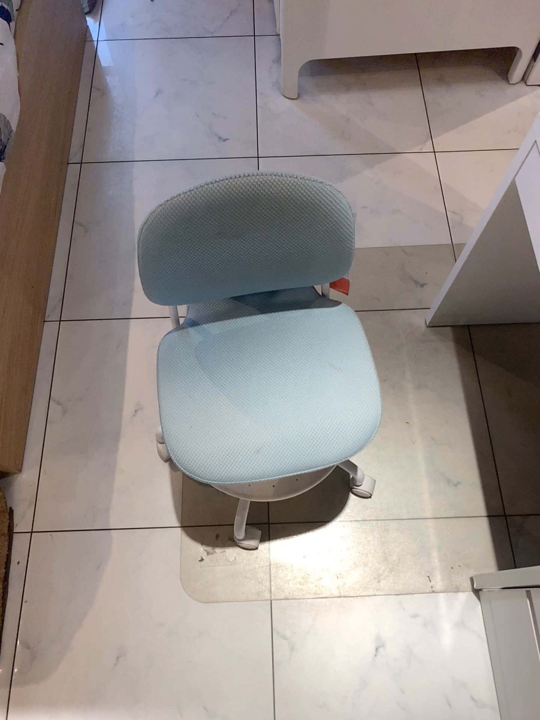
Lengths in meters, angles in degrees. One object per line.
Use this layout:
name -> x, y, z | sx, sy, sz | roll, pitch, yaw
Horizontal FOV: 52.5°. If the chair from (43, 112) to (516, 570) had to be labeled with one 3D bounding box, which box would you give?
chair -> -0.027, 0.040, 1.147 | 0.600, 0.719, 0.621 | -10, 67, -4
